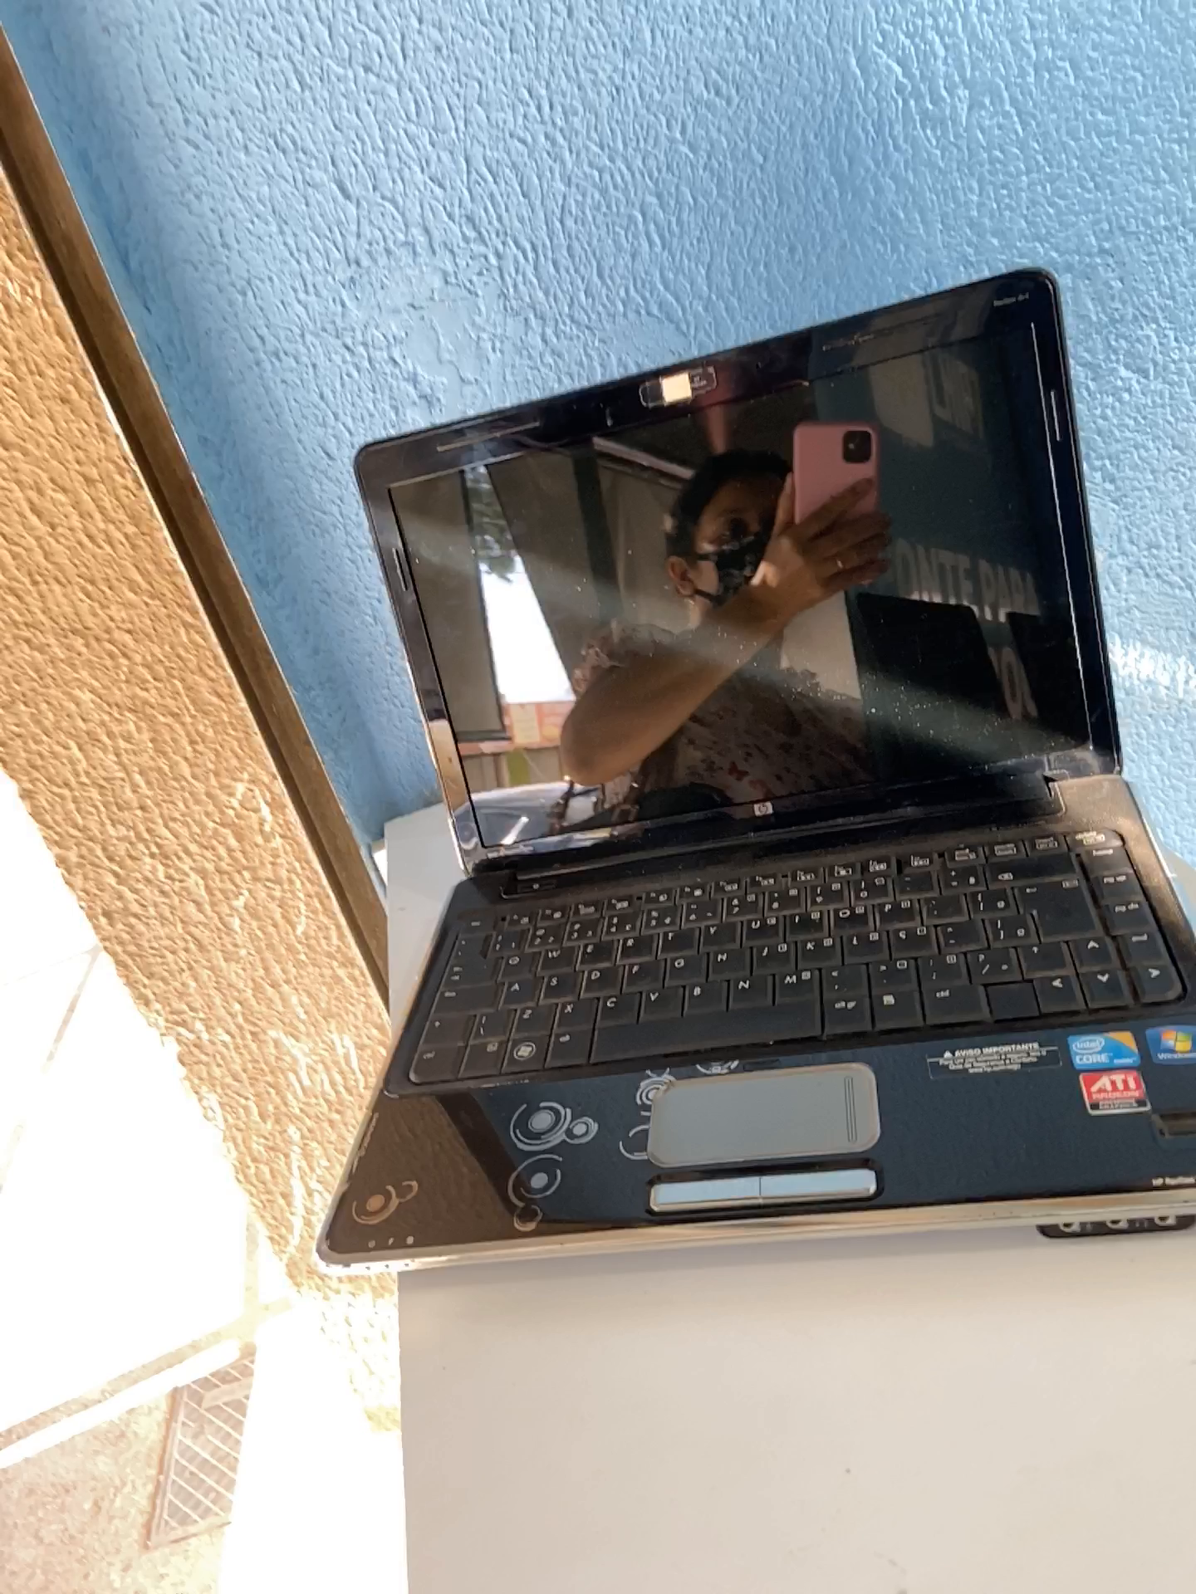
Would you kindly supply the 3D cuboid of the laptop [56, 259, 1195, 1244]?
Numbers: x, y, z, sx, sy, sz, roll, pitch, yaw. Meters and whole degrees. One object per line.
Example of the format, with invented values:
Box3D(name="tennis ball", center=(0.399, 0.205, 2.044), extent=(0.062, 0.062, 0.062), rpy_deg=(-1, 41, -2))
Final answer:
Box3D(name="laptop", center=(0.045, -0.034, 0.483), extent=(0.321, 0.211, 0.303), rpy_deg=(-10, 29, 14))
